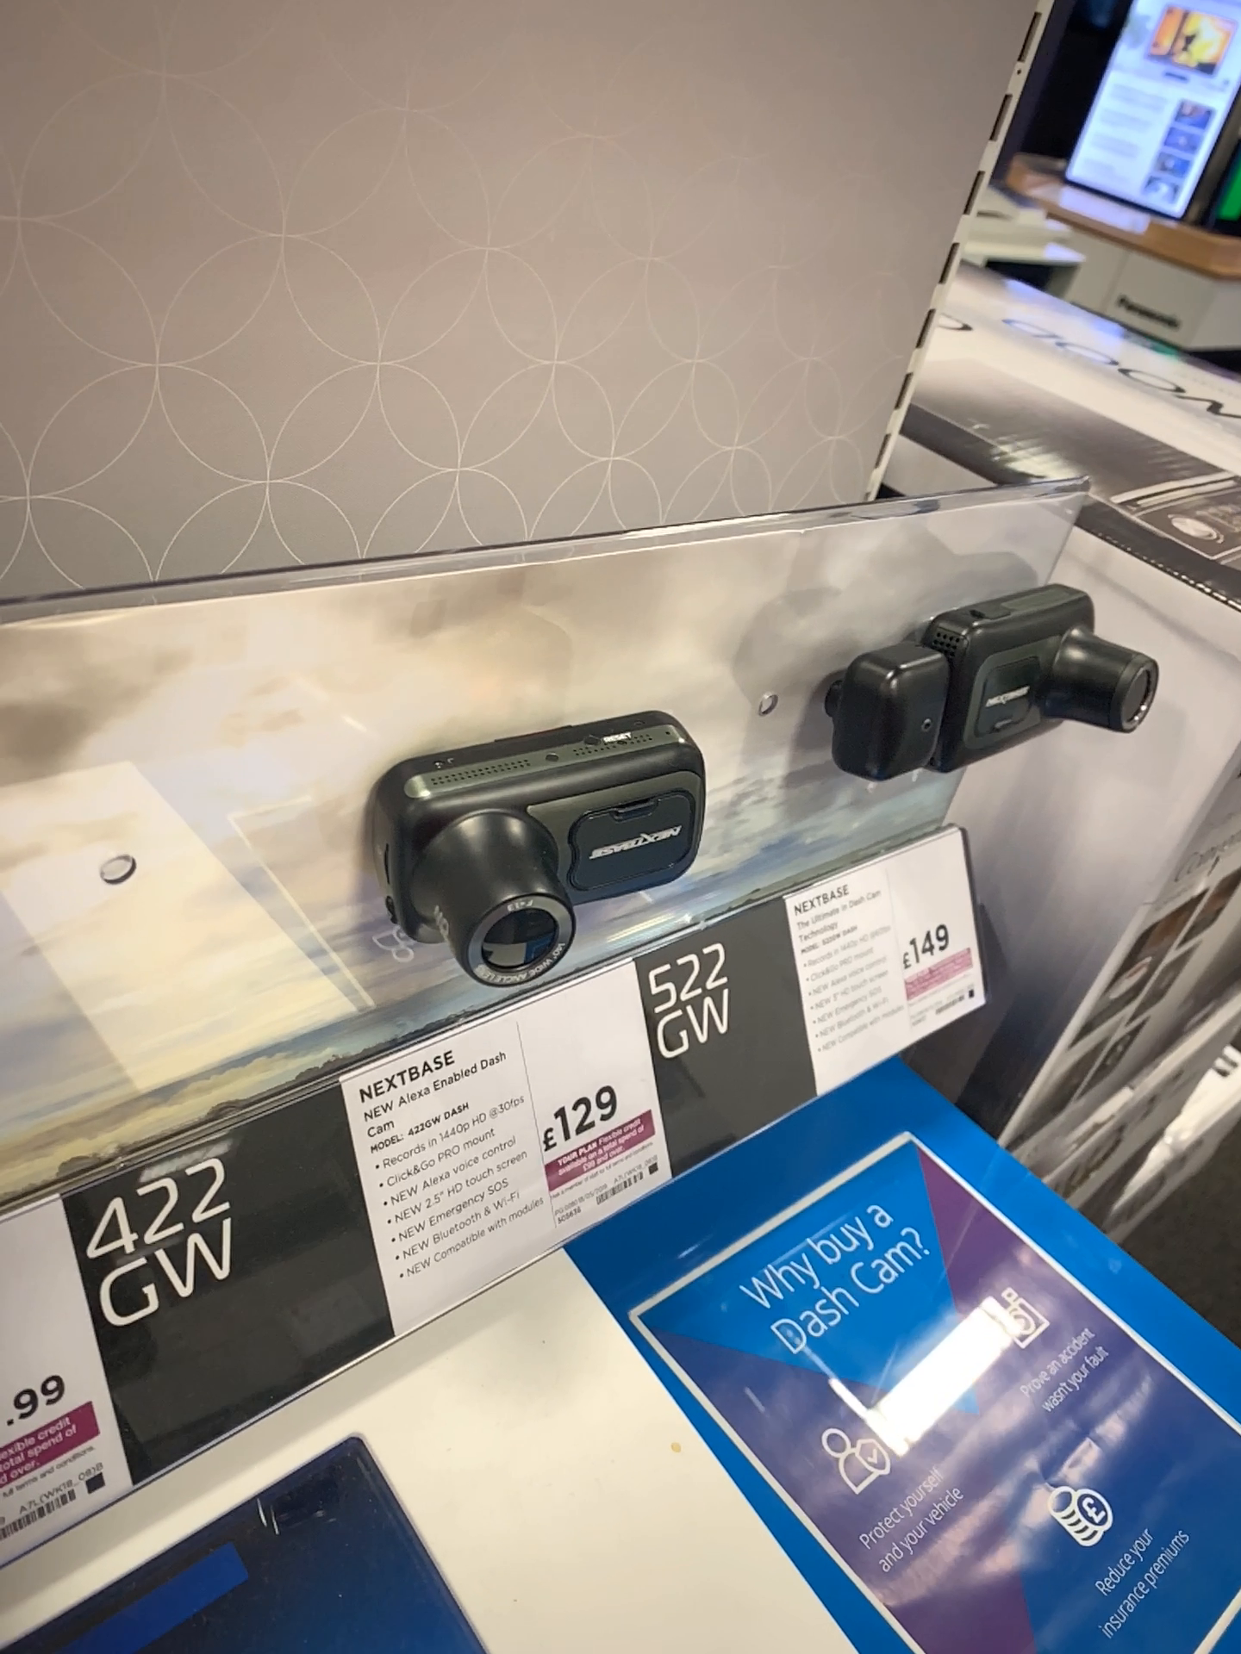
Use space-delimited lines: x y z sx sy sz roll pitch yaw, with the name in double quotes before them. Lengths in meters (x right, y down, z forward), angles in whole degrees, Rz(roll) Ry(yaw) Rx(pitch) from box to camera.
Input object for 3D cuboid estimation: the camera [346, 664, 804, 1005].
"camera" -0.011 -0.001 0.297 0.090 0.040 0.050 -13 38 -21
